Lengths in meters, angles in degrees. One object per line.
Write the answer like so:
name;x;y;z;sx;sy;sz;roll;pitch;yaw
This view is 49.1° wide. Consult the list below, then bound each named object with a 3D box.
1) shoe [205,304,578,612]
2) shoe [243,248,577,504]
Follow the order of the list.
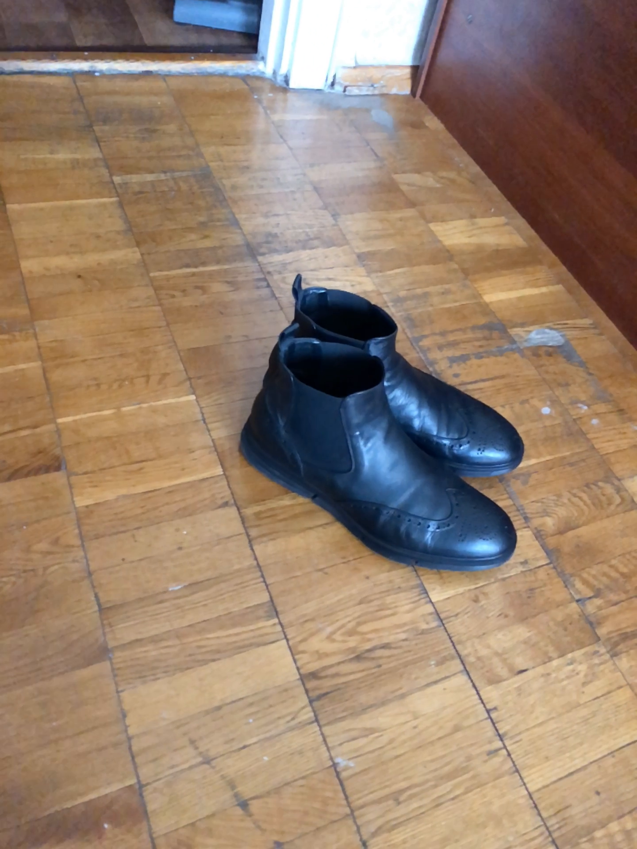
shoe;0.058;0.031;0.649;0.300;0.139;0.111;26;50;8
shoe;0.089;-0.048;0.722;0.300;0.139;0.111;19;50;2
